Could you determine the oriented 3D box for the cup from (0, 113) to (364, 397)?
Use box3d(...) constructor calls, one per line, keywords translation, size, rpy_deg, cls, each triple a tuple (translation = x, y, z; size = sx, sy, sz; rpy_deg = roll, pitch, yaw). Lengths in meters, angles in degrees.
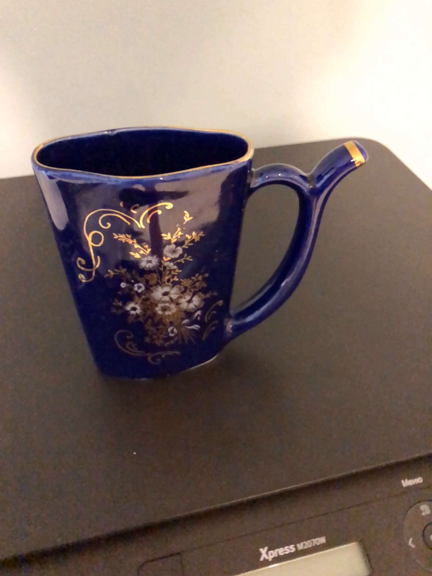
box3d(translation=(-0.014, -0.012, 0.224), size=(0.130, 0.109, 0.050), rpy_deg=(-8, 44, -9), cls="cup")
